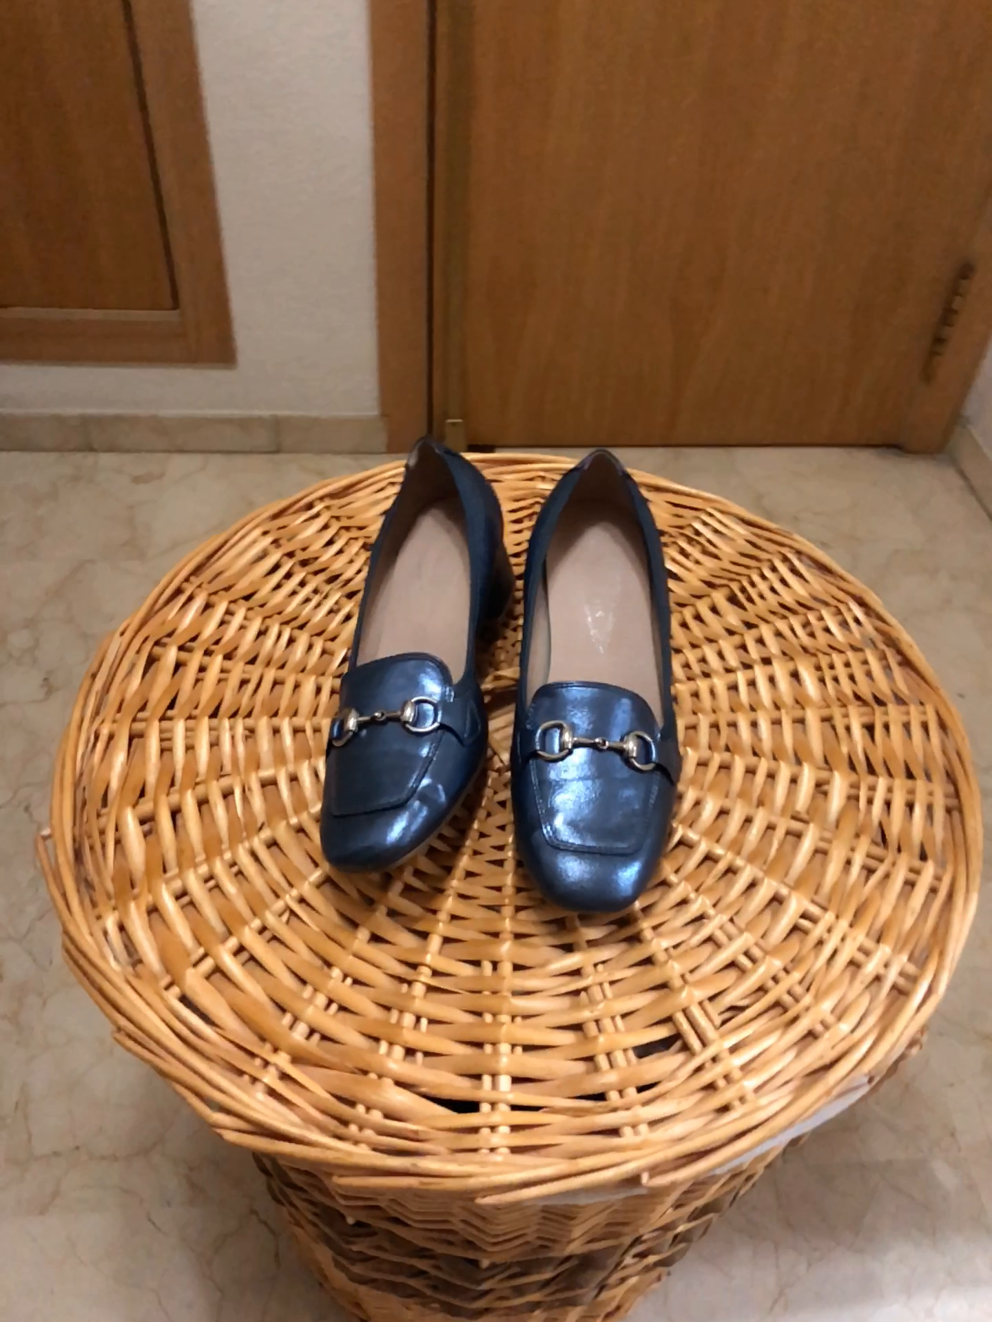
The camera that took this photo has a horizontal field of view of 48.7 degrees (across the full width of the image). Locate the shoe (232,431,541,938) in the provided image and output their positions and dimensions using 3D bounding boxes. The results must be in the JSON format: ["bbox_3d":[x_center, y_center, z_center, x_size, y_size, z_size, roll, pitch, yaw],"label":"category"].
[{"bbox_3d":[-0.046,0.005,0.582,0.100,0.090,0.251,4,61,10],"label":"shoe"}]

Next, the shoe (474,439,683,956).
[{"bbox_3d":[0.051,0.011,0.578,0.090,0.090,0.261,1,58,7],"label":"shoe"}]
